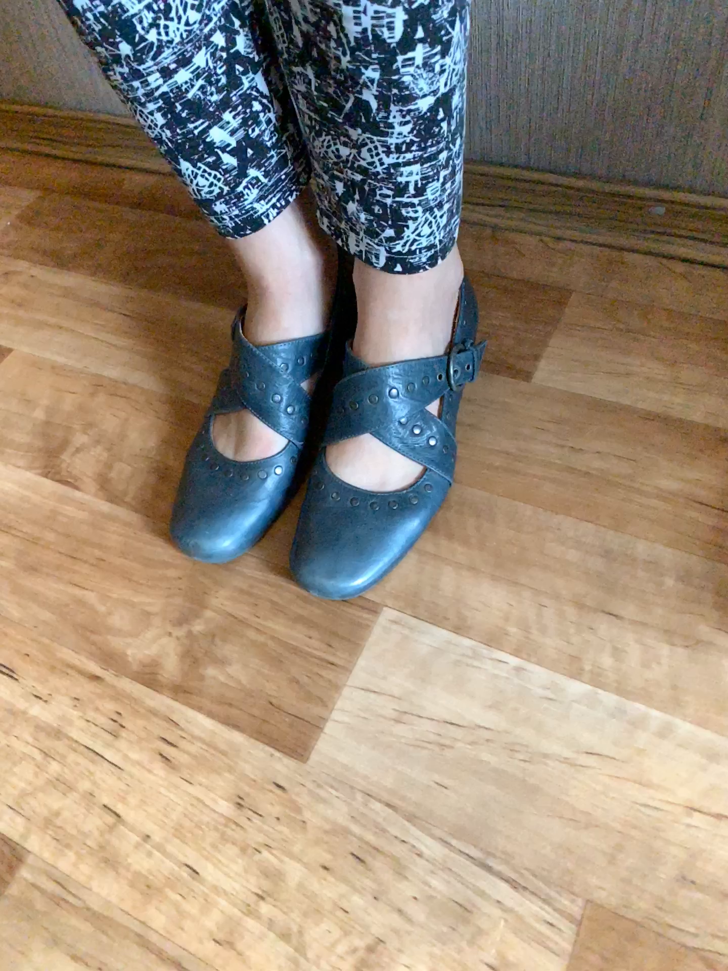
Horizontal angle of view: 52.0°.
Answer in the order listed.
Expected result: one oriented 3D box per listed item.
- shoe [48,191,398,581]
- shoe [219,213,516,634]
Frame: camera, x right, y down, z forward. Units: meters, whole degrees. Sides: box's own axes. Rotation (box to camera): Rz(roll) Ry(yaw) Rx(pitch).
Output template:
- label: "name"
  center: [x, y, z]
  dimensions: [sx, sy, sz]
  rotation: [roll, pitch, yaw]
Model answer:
- label: "shoe"
  center: [-0.073, -0.075, 0.490]
  dimensions: [0.090, 0.100, 0.240]
  rotation: [18, 58, 21]
- label: "shoe"
  center: [0.019, -0.051, 0.471]
  dimensions: [0.090, 0.100, 0.251]
  rotation: [13, 56, 18]
